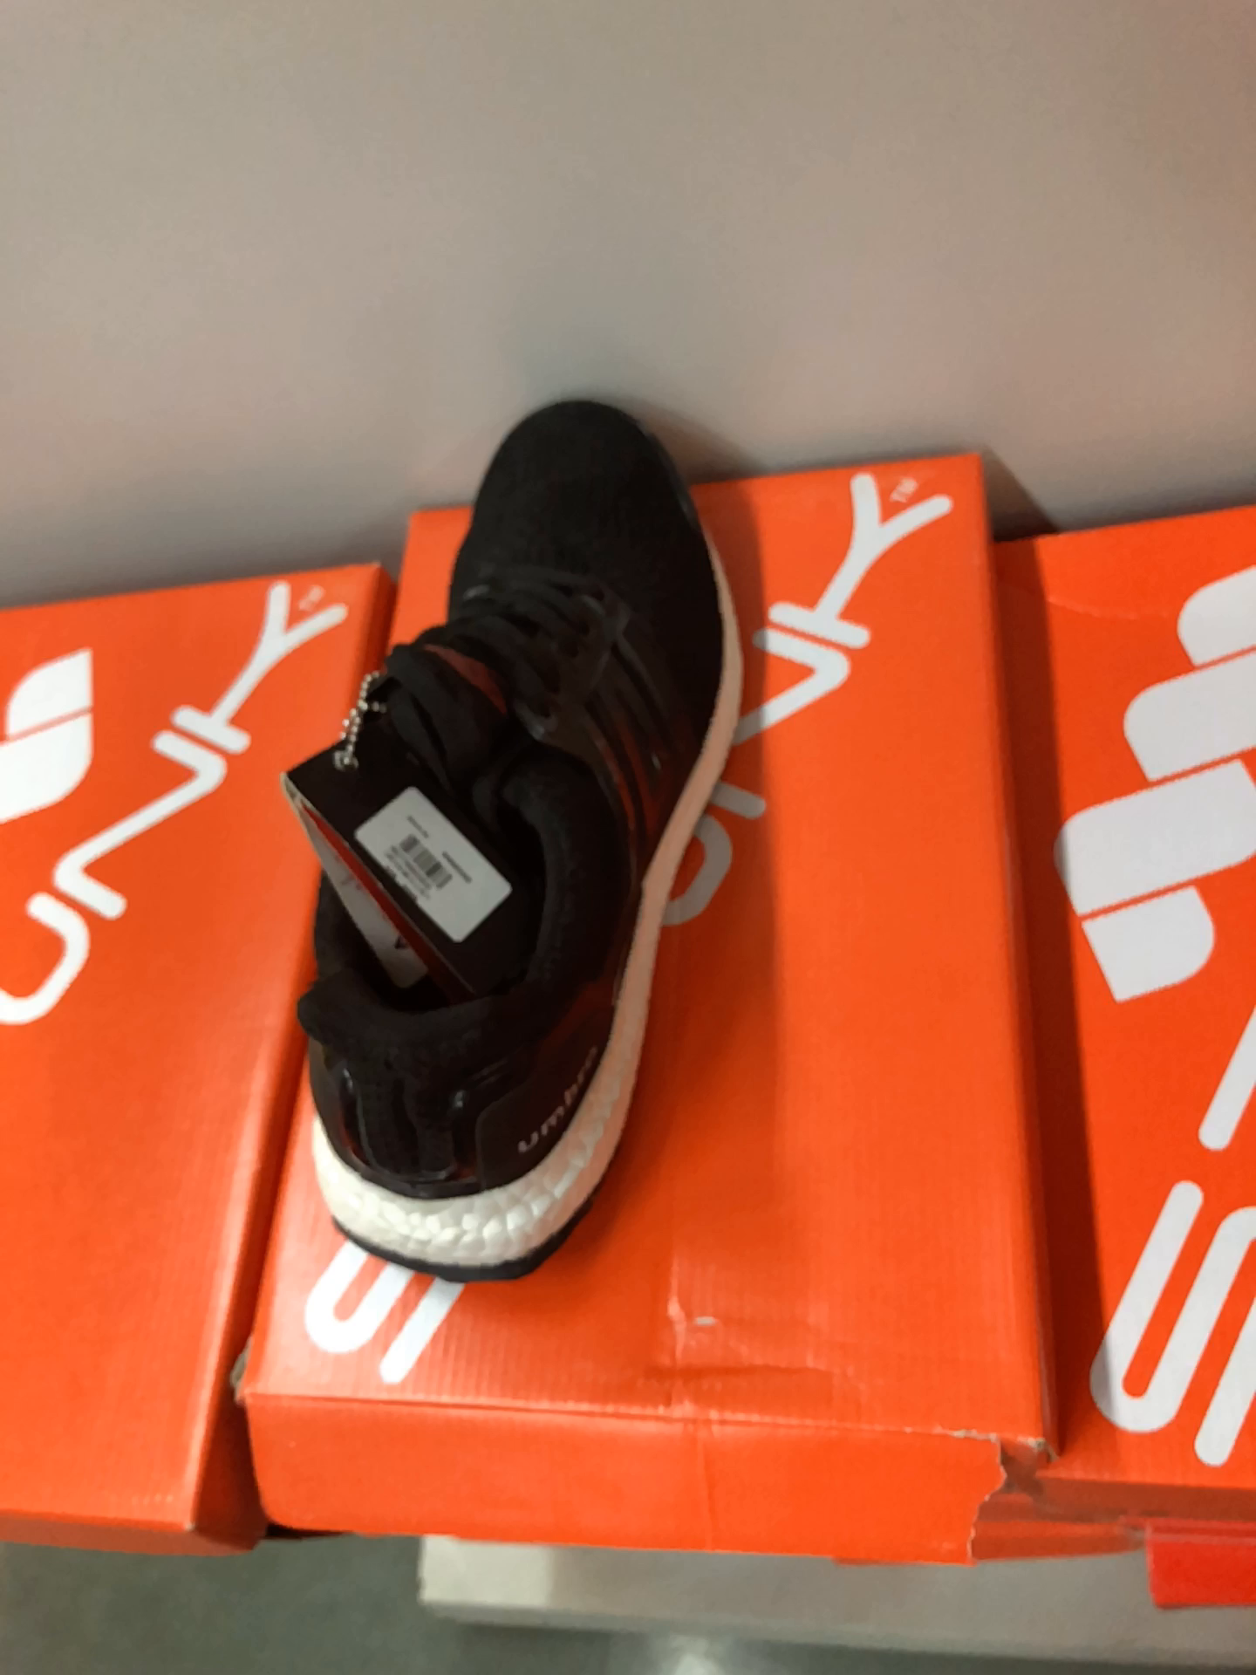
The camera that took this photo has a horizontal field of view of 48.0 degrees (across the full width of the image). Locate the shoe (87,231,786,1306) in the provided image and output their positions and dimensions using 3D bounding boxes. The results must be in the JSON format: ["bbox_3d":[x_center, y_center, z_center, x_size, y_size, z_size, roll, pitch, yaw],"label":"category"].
[{"bbox_3d":[-0.032,-0.027,0.422,0.117,0.120,0.290,3,63,15],"label":"shoe"}]
